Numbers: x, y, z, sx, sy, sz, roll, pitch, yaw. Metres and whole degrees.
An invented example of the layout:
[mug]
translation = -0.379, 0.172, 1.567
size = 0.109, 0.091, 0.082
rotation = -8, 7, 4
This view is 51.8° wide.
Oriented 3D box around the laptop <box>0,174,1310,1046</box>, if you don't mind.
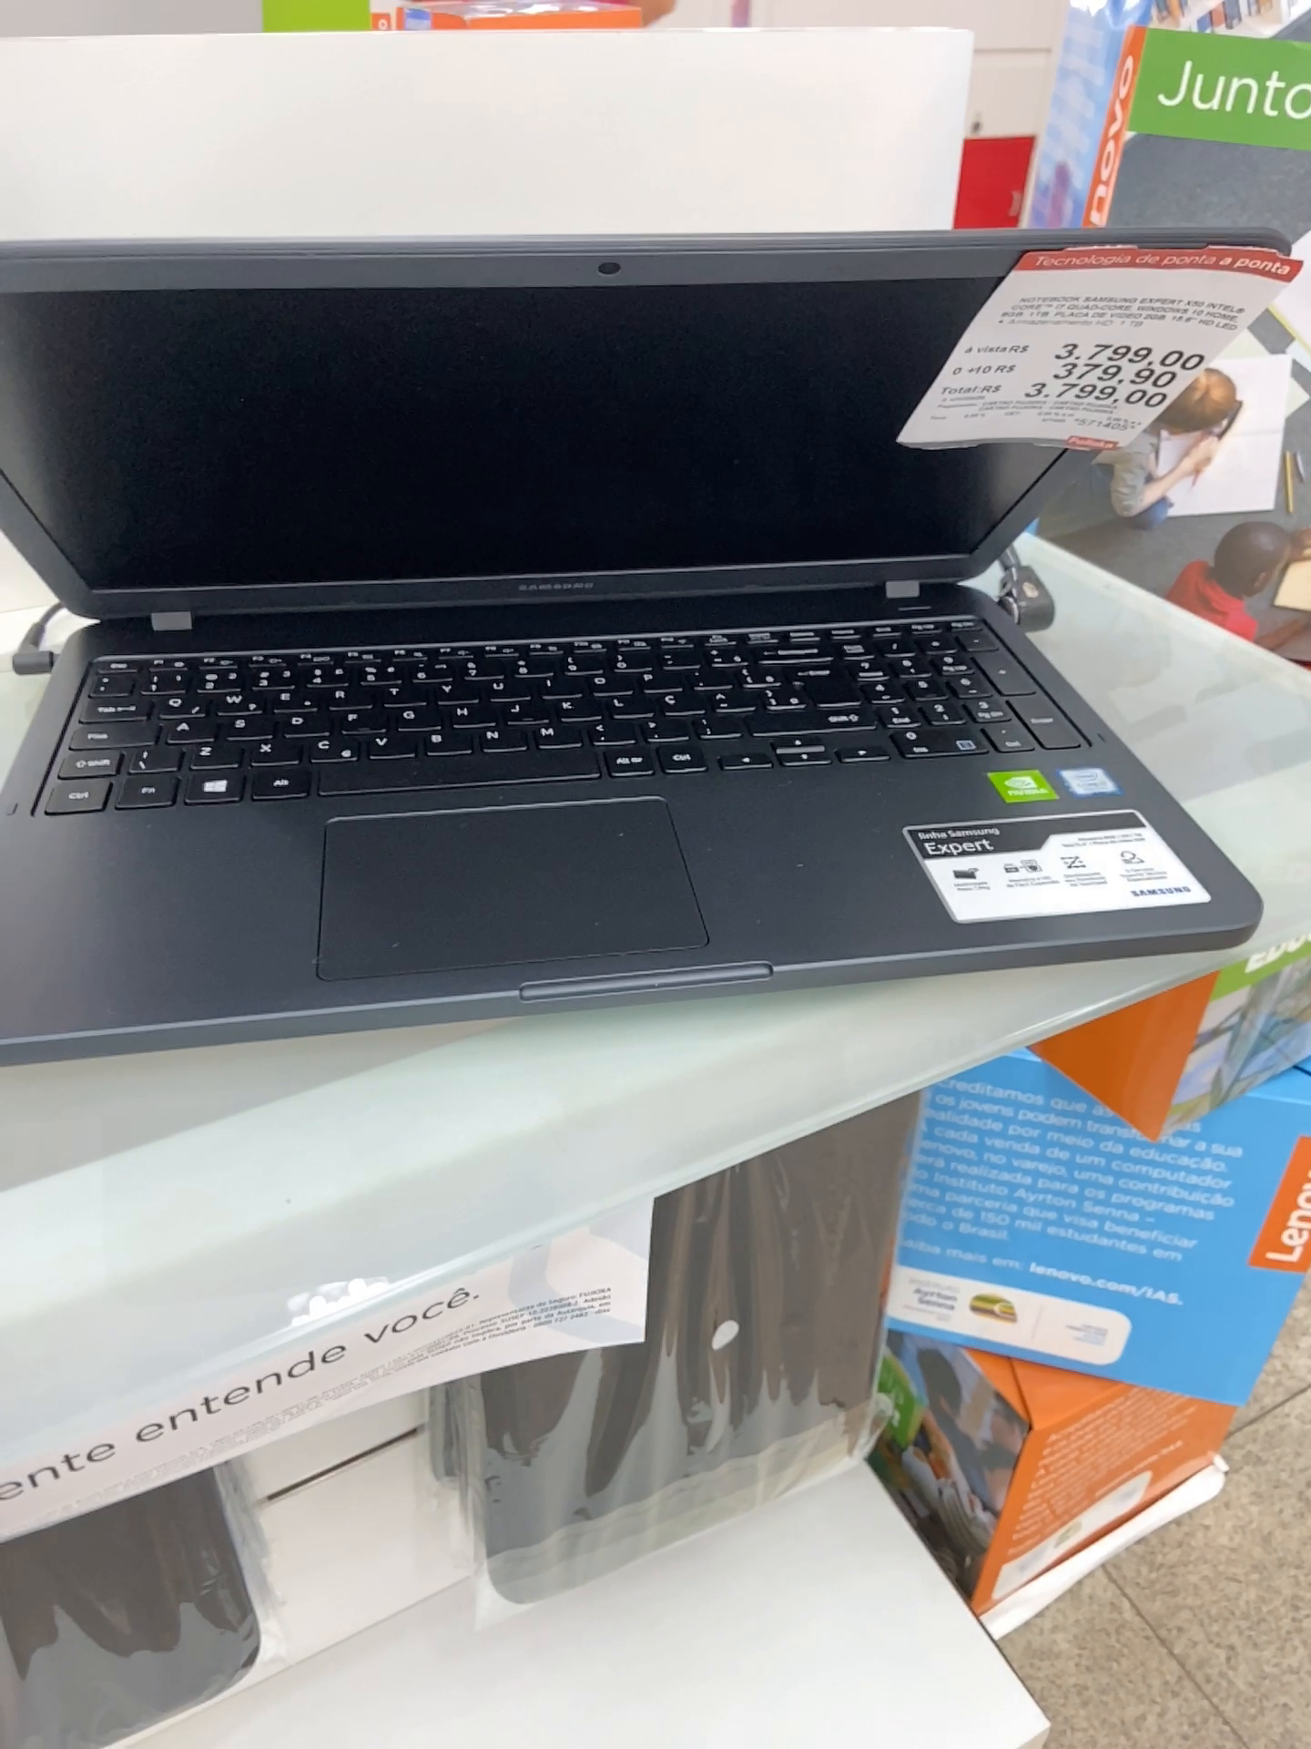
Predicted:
[laptop]
translation = -0.022, -0.105, 0.409
size = 0.357, 0.158, 0.232
rotation = -5, 36, -9
